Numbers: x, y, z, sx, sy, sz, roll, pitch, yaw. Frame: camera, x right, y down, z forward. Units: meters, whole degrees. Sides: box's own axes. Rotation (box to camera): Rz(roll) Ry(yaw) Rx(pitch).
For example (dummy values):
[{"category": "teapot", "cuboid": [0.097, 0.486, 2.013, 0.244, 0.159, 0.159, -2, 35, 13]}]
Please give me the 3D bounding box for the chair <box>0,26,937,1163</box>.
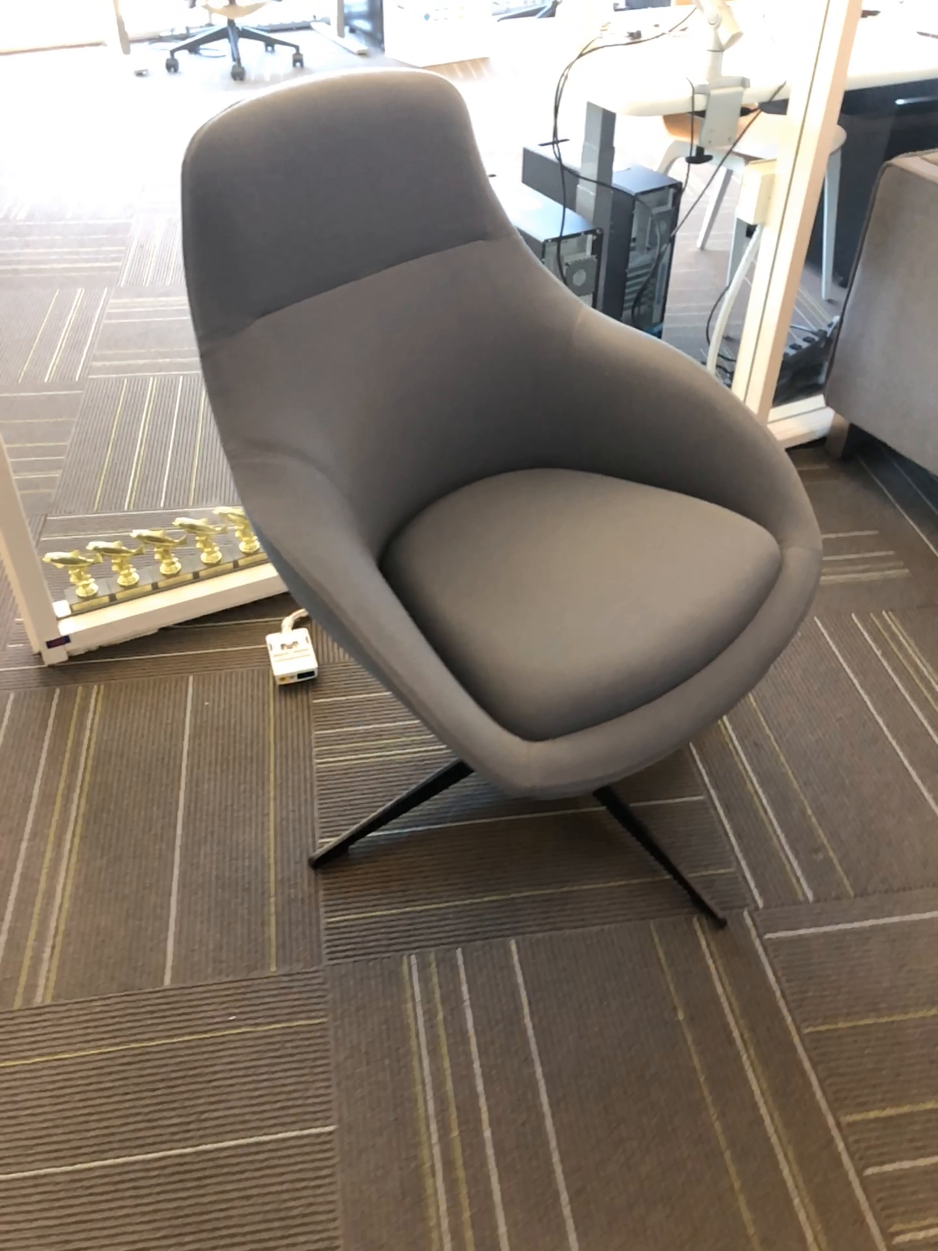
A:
[{"category": "chair", "cuboid": [0.073, -0.152, 1.473, 0.932, 0.995, 0.963, -31, 49, -33]}]
